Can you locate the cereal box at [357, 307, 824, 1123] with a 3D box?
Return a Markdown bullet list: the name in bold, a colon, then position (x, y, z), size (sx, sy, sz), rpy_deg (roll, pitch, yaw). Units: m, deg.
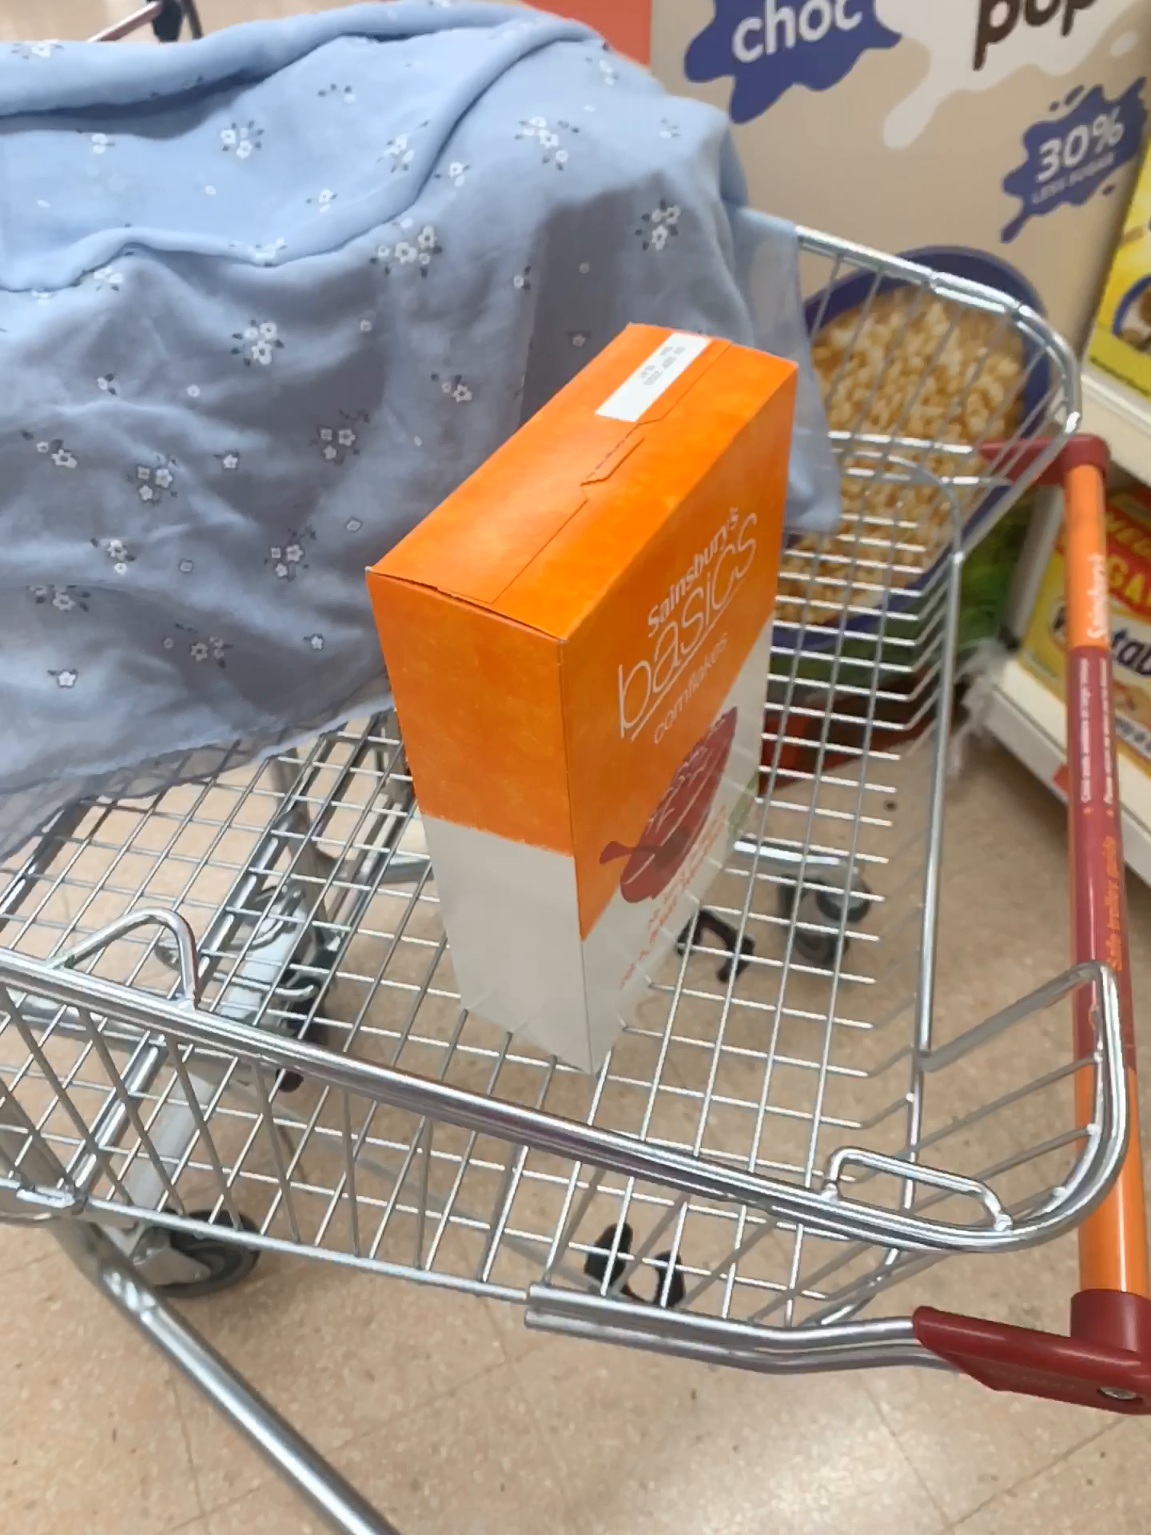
- **cereal box**: position (0.024, -0.012, 0.549), size (0.080, 0.307, 0.212), rpy_deg (21, 51, 22)
